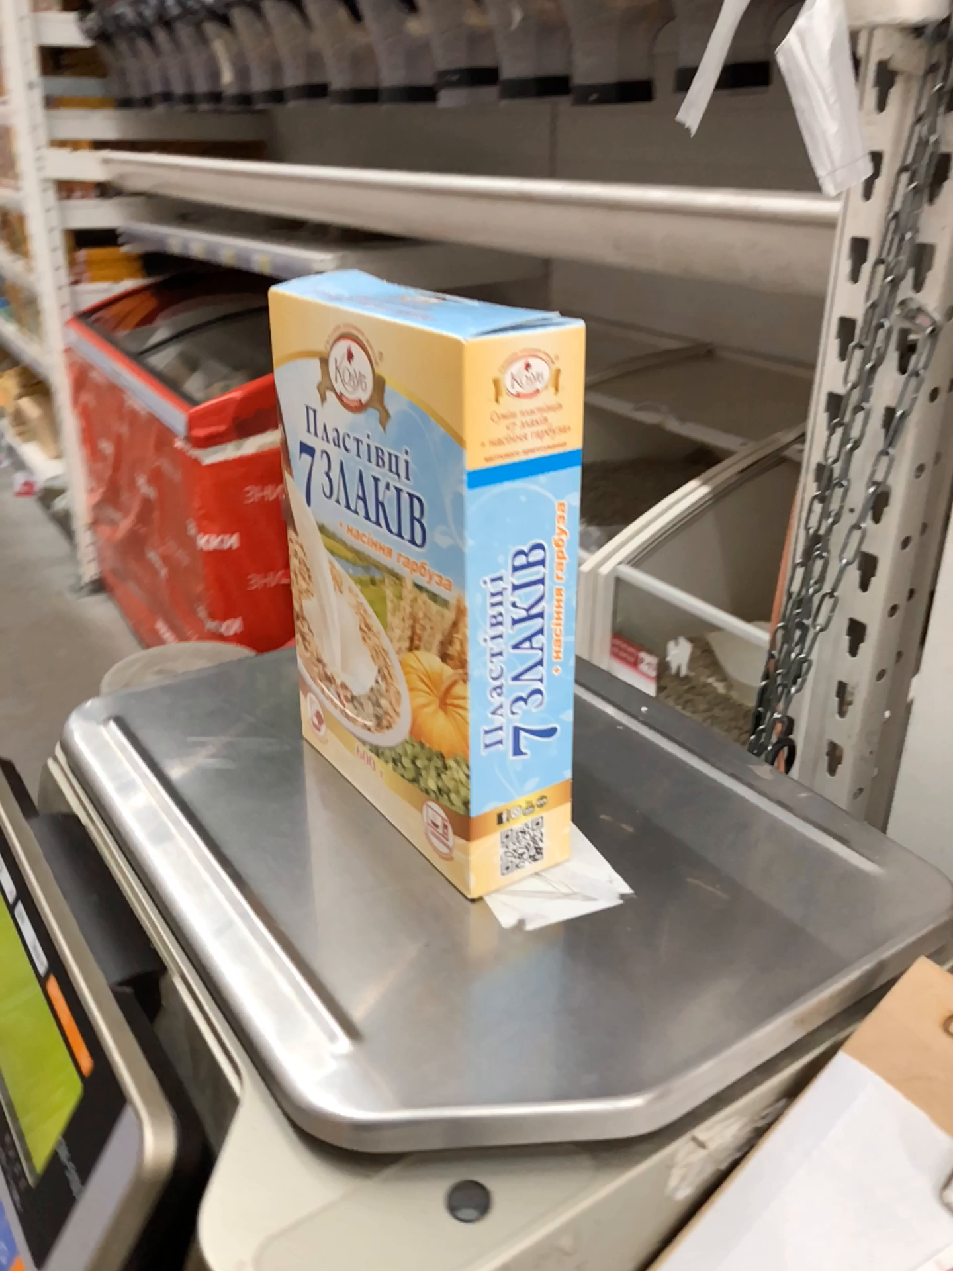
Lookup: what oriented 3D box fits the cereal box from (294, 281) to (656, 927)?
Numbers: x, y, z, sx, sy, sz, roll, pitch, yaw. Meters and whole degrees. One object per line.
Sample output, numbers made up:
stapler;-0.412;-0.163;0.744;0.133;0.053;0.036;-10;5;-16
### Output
cereal box;-0.008;-0.022;0.449;0.060;0.229;0.161;-16;29;-30
